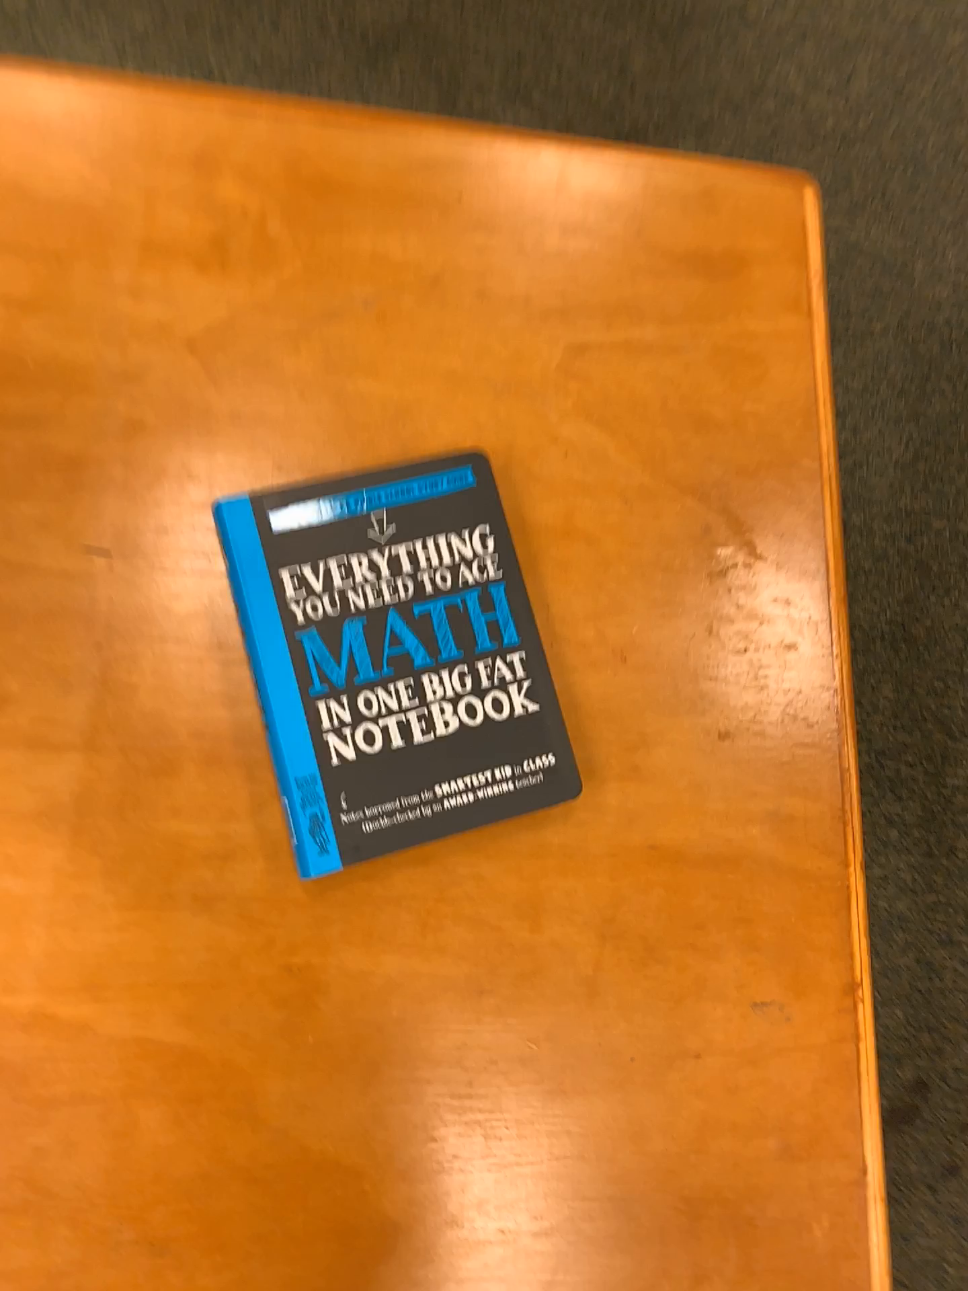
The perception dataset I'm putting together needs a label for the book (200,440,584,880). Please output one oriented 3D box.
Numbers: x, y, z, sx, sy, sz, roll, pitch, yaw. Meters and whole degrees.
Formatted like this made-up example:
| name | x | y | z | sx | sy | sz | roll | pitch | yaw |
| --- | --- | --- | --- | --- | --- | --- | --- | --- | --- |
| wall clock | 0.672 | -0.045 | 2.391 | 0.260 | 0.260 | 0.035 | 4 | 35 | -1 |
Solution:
| name | x | y | z | sx | sy | sz | roll | pitch | yaw |
| --- | --- | --- | --- | --- | --- | --- | --- | --- | --- |
| book | -0.053 | 0.005 | 0.554 | 0.160 | 0.040 | 0.210 | -14 | 81 | -13 |
